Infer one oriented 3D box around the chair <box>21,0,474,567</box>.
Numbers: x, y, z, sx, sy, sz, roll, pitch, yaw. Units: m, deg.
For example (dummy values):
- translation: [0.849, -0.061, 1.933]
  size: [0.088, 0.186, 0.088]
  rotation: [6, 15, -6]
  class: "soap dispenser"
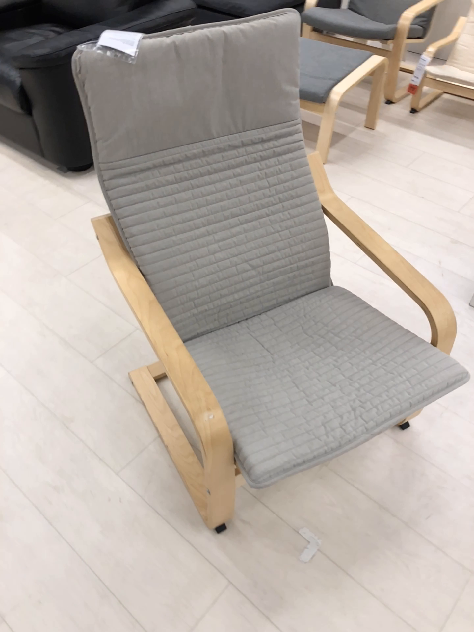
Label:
- translation: [0.097, -0.116, 1.187]
  size: [0.731, 0.996, 0.702]
  rotation: [-20, 48, -19]
  class: "chair"
